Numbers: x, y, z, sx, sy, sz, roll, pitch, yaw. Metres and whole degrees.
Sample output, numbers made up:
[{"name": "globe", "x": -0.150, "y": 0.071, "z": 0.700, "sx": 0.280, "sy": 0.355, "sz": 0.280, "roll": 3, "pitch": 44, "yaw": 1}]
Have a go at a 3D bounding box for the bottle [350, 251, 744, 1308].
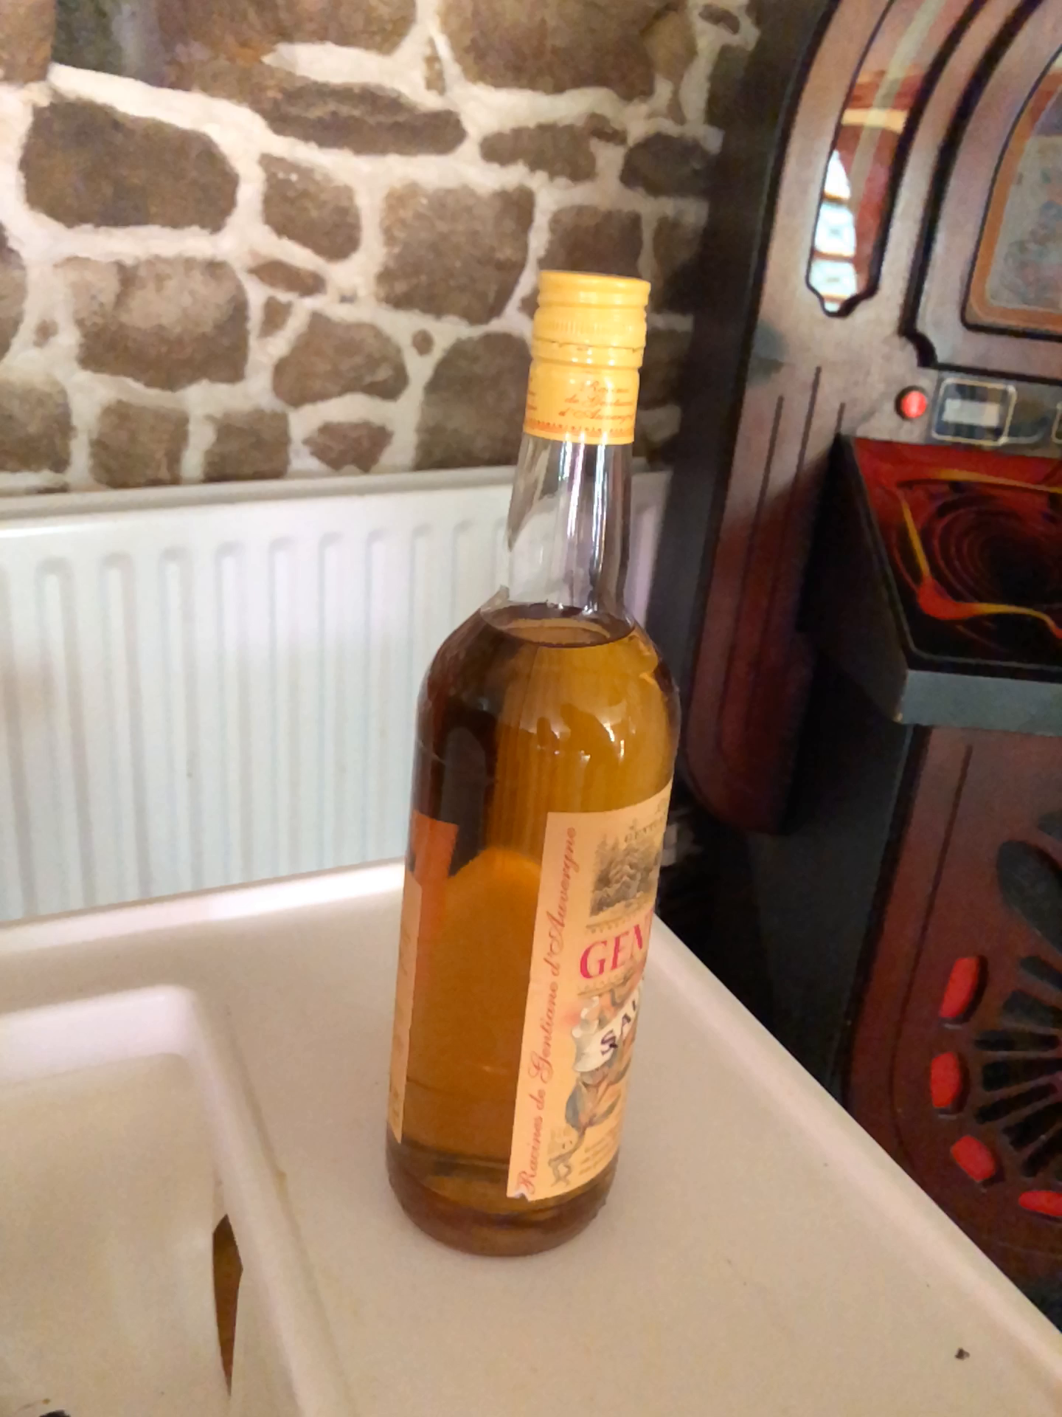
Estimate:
[{"name": "bottle", "x": 0.001, "y": 0.024, "z": 0.358, "sx": 0.080, "sy": 0.299, "sz": 0.091, "roll": 9, "pitch": 21, "yaw": 13}]
